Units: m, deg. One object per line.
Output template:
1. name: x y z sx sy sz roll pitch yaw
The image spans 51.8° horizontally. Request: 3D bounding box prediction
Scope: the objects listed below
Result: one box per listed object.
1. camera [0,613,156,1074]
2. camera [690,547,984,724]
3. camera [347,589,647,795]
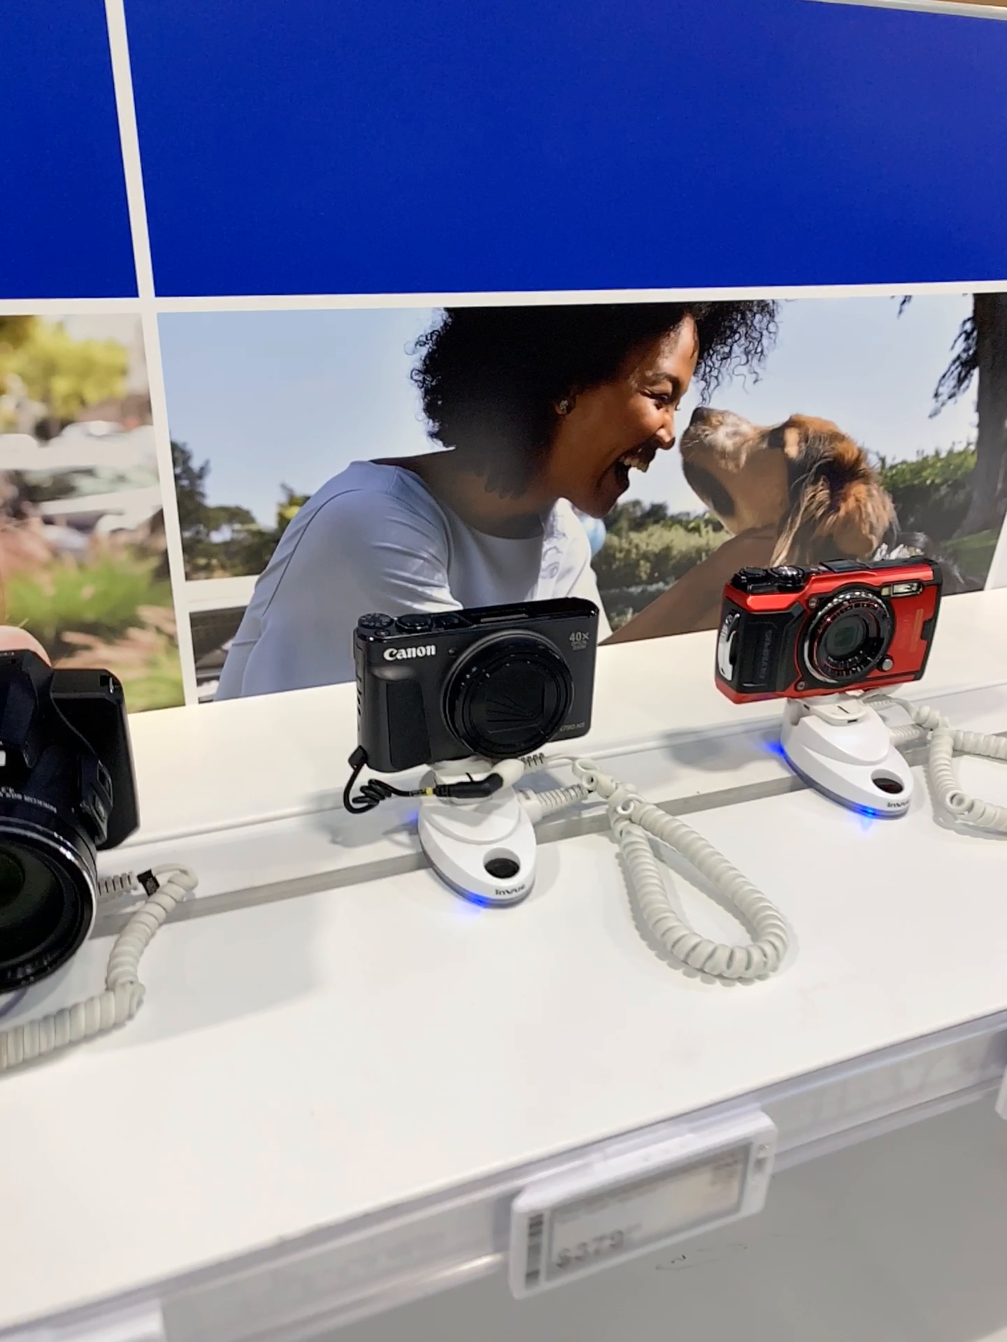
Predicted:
1. camera: -0.184 0.045 0.337 0.120 0.080 0.111 -8 28 -19
2. camera: 0.168 -0.021 0.528 0.130 0.060 0.050 -8 28 -19
3. camera: -0.004 0.007 0.461 0.120 0.060 0.050 -8 28 -19
